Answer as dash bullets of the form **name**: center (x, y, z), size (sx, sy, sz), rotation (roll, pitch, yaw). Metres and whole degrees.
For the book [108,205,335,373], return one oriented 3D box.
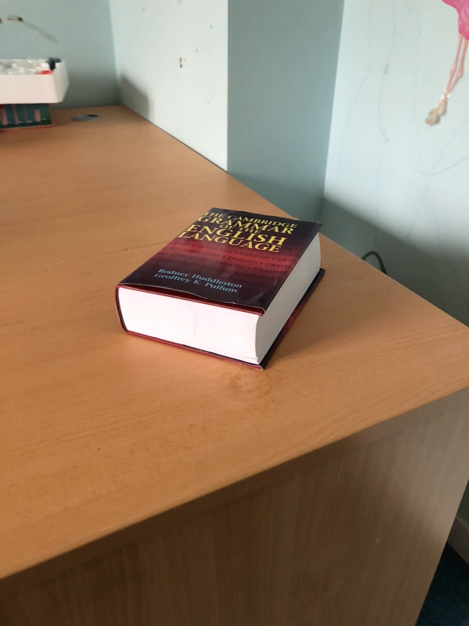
- **book**: center (0.000, -0.050, 0.666), size (0.194, 0.070, 0.262), rotation (12, 35, 21)
